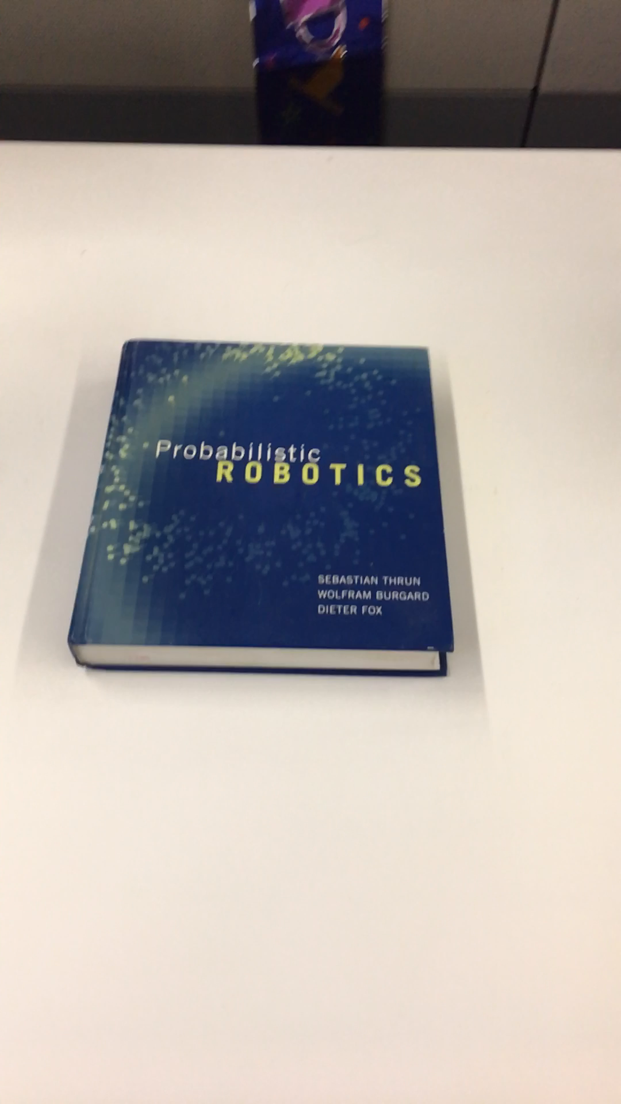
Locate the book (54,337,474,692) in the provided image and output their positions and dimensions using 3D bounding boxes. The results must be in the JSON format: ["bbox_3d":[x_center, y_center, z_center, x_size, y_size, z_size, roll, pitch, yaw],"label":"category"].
[{"bbox_3d":[-0.024,-0.033,0.559,0.220,0.030,0.240,1,57,-1],"label":"book"}]
